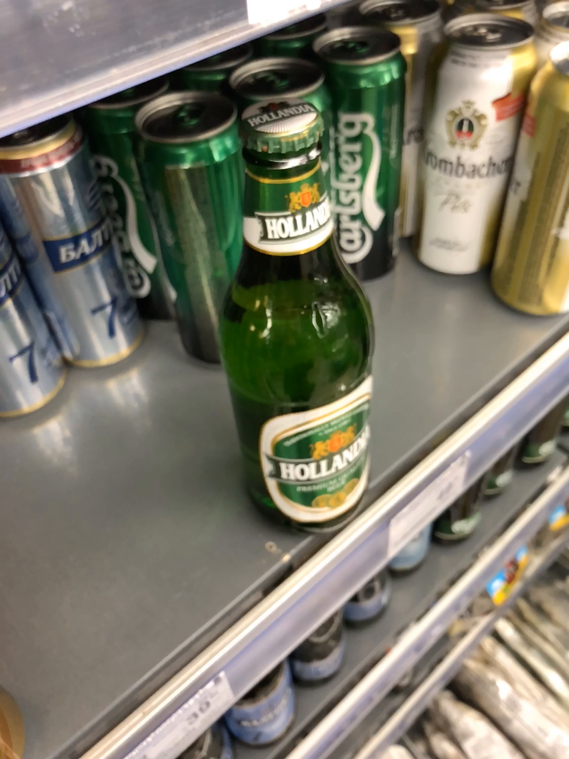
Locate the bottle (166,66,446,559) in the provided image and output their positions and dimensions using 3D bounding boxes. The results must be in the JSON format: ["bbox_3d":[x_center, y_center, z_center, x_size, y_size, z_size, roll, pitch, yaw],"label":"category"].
[{"bbox_3d":[0.011,-0.011,0.283,0.070,0.211,0.063,-20,49,-13],"label":"bottle"}]
